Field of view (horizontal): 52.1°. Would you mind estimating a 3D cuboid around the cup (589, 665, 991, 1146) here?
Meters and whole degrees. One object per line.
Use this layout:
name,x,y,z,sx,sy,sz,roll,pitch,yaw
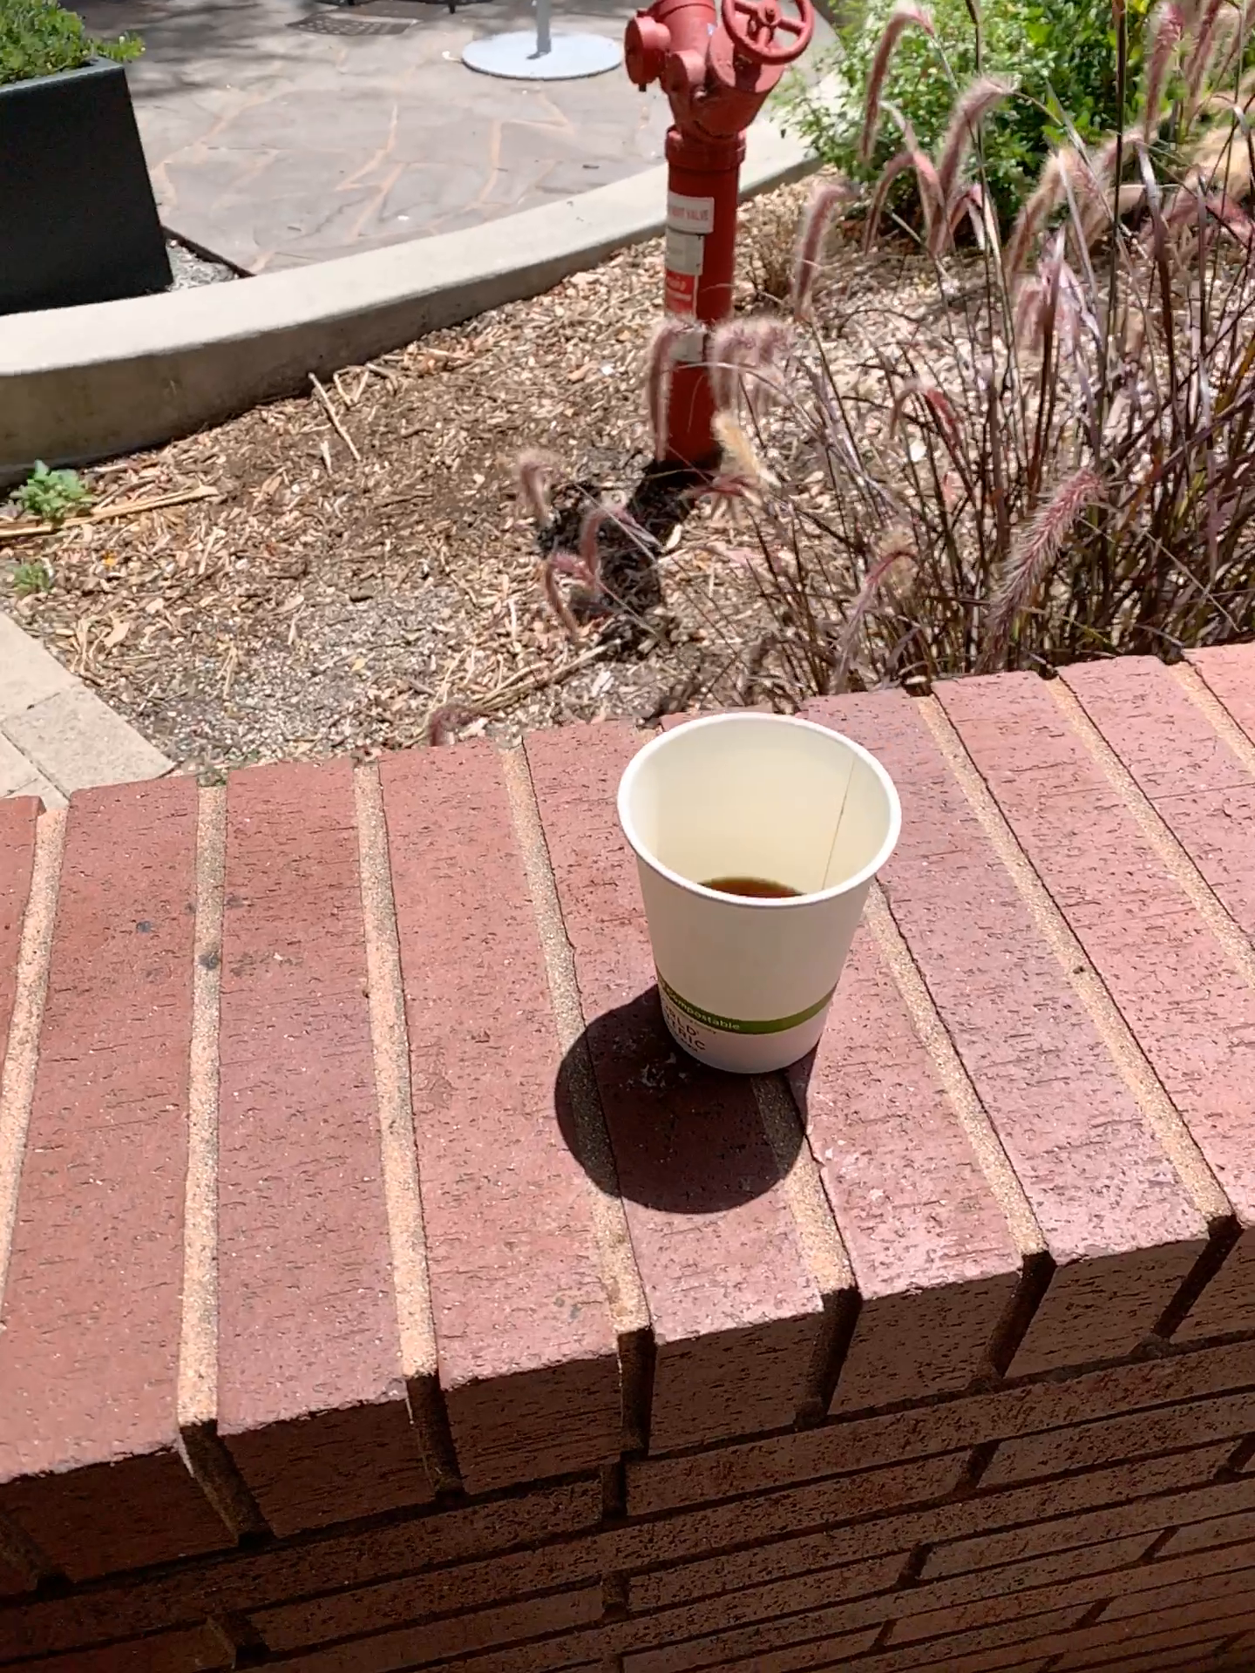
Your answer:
cup,0.050,0.023,0.444,0.090,0.109,0.090,0,45,0
